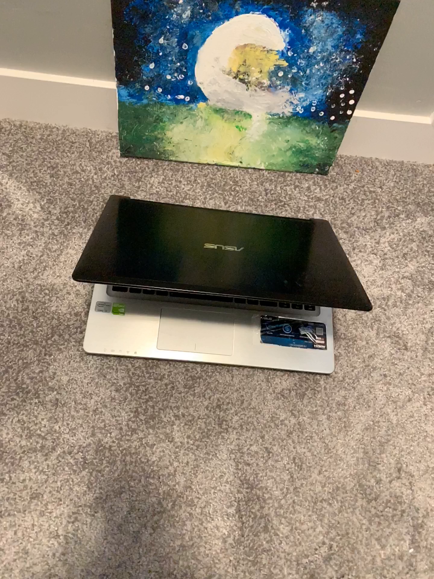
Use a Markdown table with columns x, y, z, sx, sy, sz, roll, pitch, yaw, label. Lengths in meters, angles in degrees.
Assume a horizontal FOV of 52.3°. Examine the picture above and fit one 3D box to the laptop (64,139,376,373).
| x | y | z | sx | sy | sz | roll | pitch | yaw | label |
| --- | --- | --- | --- | --- | --- | --- | --- | --- | --- |
| 0.007 | -0.039 | 0.610 | 0.354 | 0.134 | 0.253 | 6 | 67 | -5 | laptop |
